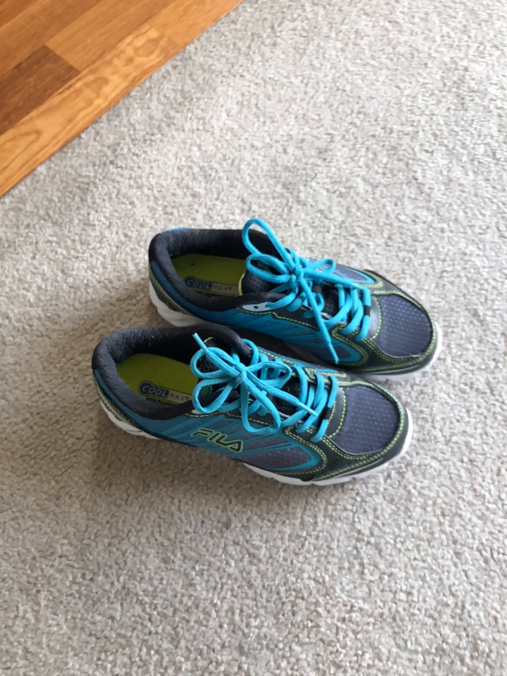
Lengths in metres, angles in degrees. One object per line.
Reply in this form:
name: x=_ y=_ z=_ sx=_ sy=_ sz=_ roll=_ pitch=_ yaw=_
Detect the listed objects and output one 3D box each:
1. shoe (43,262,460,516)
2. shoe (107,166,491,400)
shoe: x=0.001 y=0.045 z=0.442 sx=0.271 sy=0.119 sz=0.105 roll=14 pitch=67 yaw=7
shoe: x=0.036 y=-0.043 z=0.479 sx=0.274 sy=0.119 sz=0.102 roll=13 pitch=69 yaw=6
